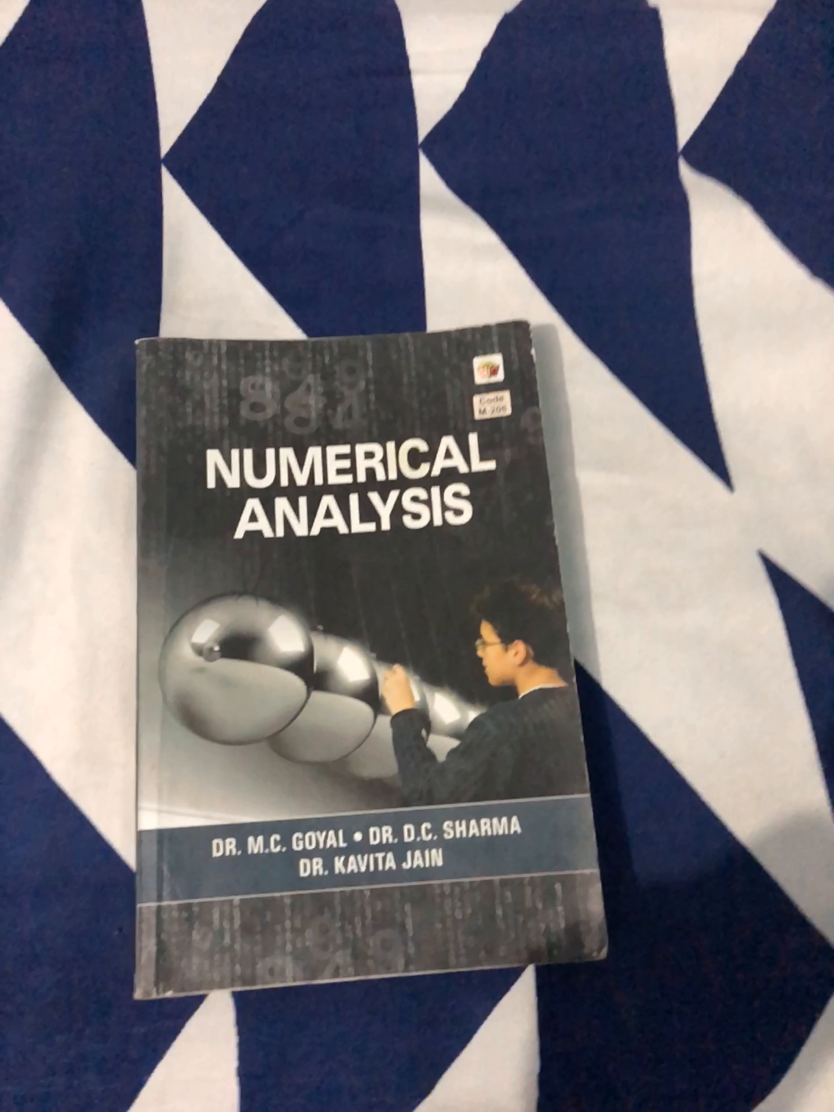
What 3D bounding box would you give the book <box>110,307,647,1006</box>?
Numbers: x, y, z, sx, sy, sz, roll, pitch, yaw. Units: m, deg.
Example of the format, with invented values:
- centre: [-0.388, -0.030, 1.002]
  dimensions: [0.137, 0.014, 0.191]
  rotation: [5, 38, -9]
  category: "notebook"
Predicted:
- centre: [-0.017, 0.022, 0.279]
  dimensions: [0.140, 0.030, 0.190]
  rotation: [-4, 76, -3]
  category: "book"
